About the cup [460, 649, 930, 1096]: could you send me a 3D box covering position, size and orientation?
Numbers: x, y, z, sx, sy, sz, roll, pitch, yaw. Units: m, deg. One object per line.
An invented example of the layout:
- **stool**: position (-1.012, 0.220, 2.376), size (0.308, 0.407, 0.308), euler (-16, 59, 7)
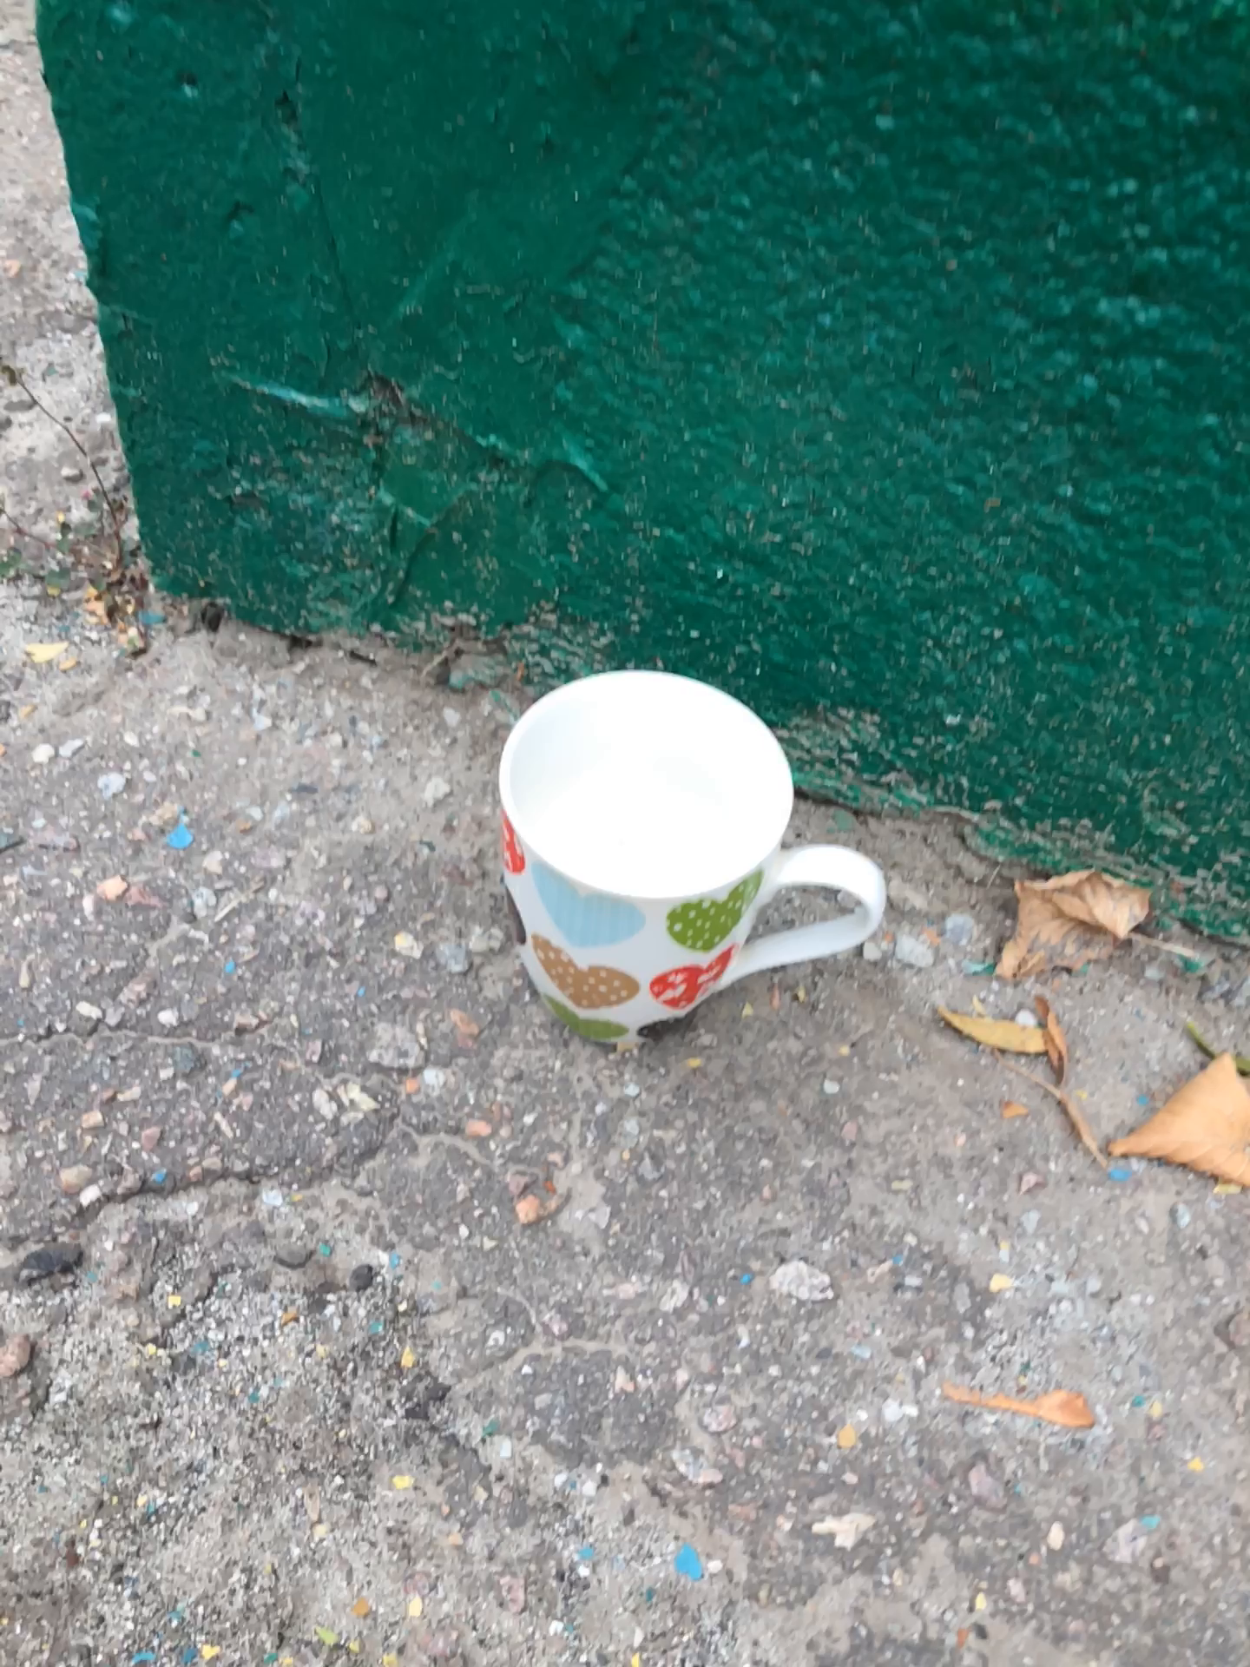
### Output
- **cup**: position (0.018, 0.012, 0.401), size (0.116, 0.079, 0.082), euler (9, 51, -2)
